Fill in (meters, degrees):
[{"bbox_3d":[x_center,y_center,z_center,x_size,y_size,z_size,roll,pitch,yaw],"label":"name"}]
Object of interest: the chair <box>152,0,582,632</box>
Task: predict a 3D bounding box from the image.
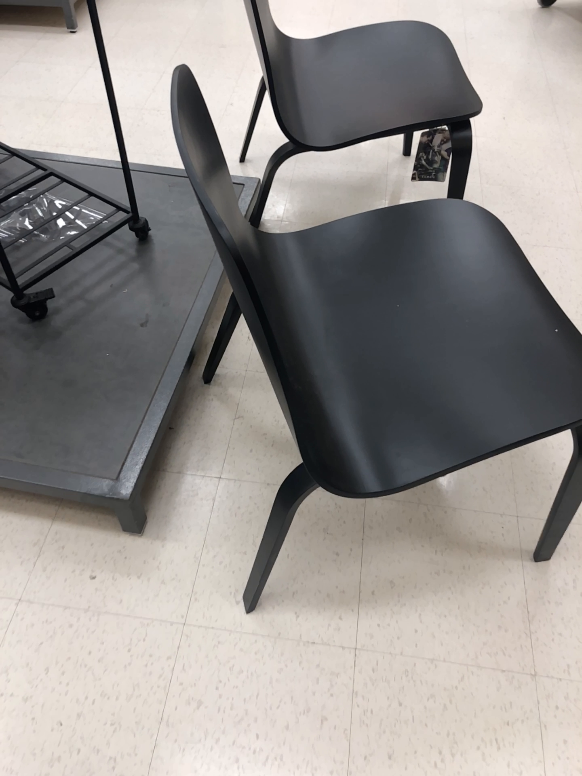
[{"bbox_3d":[0.172,-0.116,1.058,0.630,0.718,0.642,-9,50,-9],"label":"chair"}]
